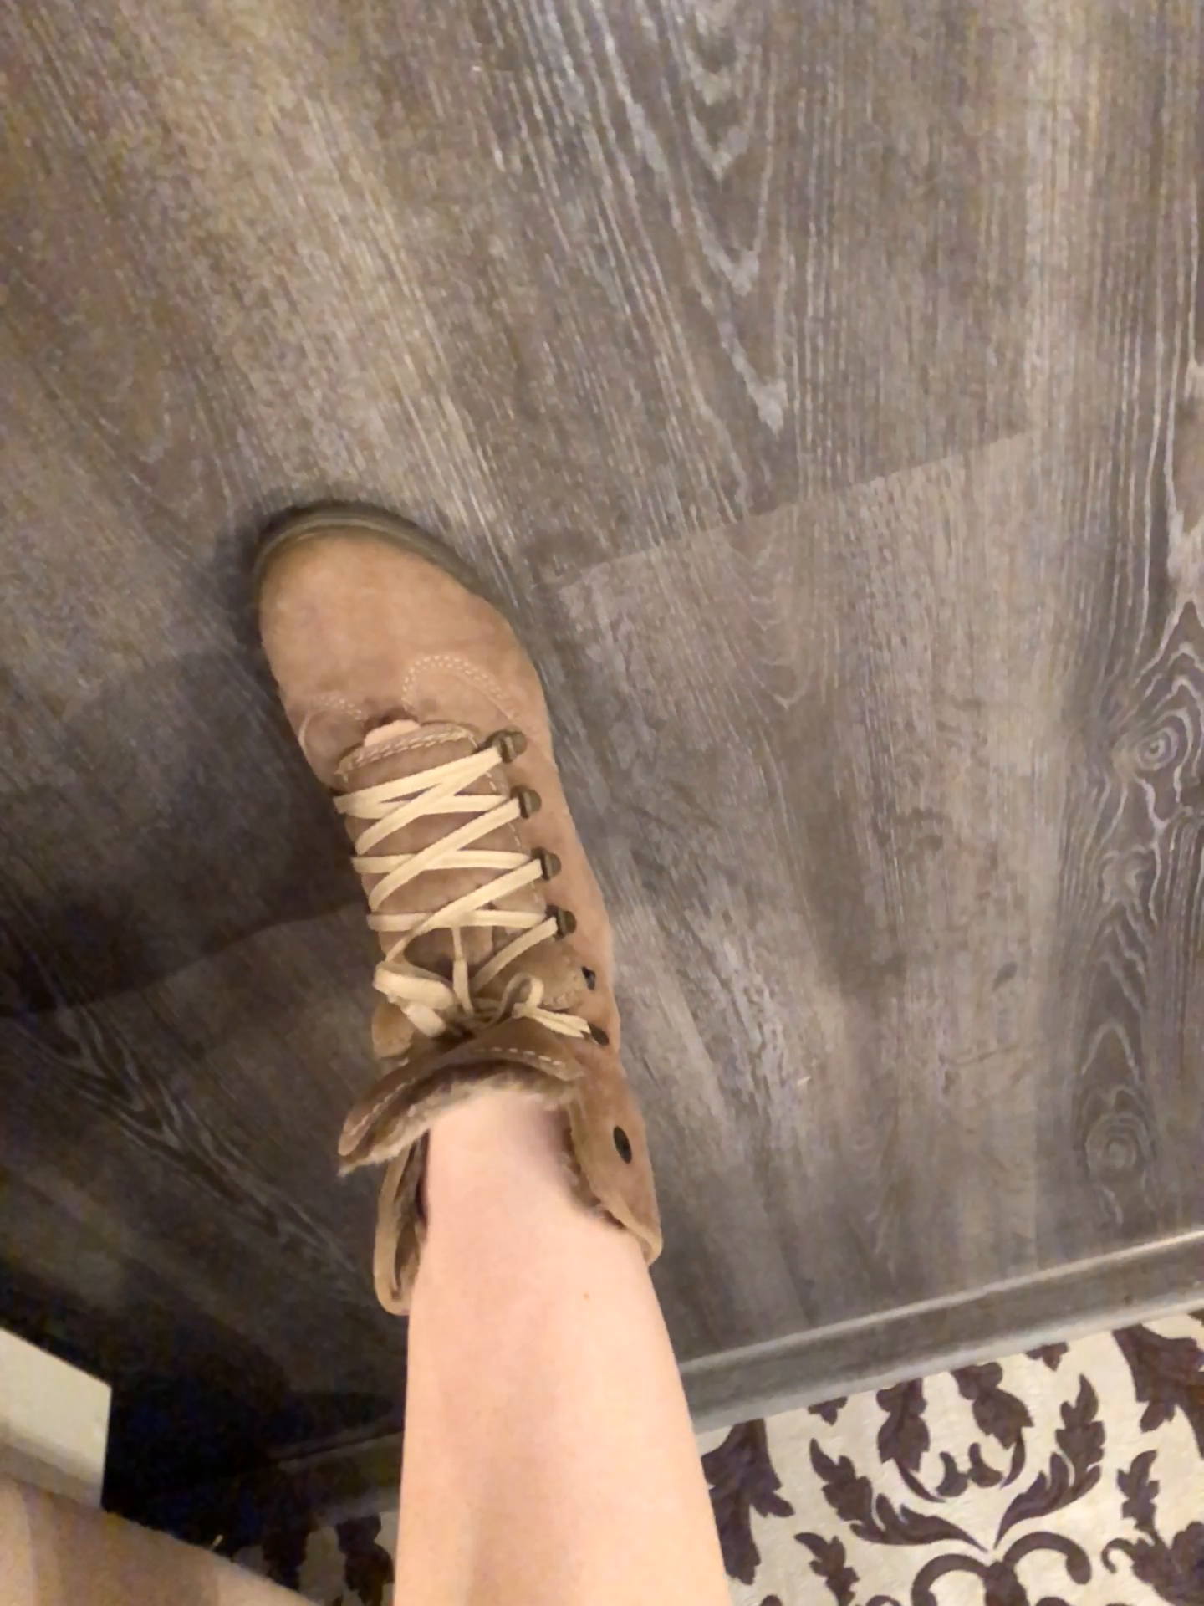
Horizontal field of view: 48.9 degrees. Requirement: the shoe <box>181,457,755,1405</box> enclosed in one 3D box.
[{"bbox_3d":[-0.036,0.063,0.498,0.110,0.209,0.291,-14,139,3],"label":"shoe"}]
